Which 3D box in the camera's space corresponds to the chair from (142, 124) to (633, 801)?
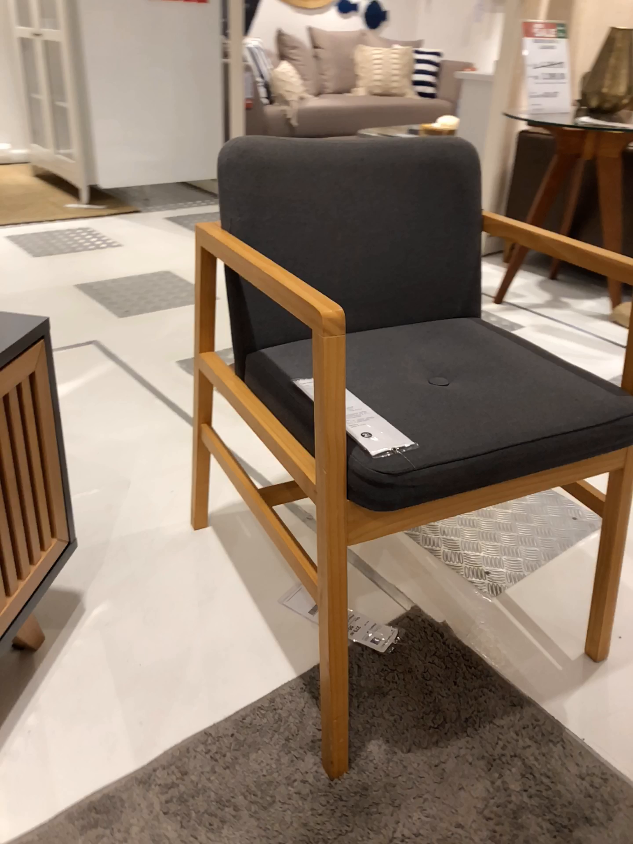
[{"bbox_3d":[0.119,-0.040,1.124,0.561,0.734,0.704,-12,32,-26],"label":"chair"}]
